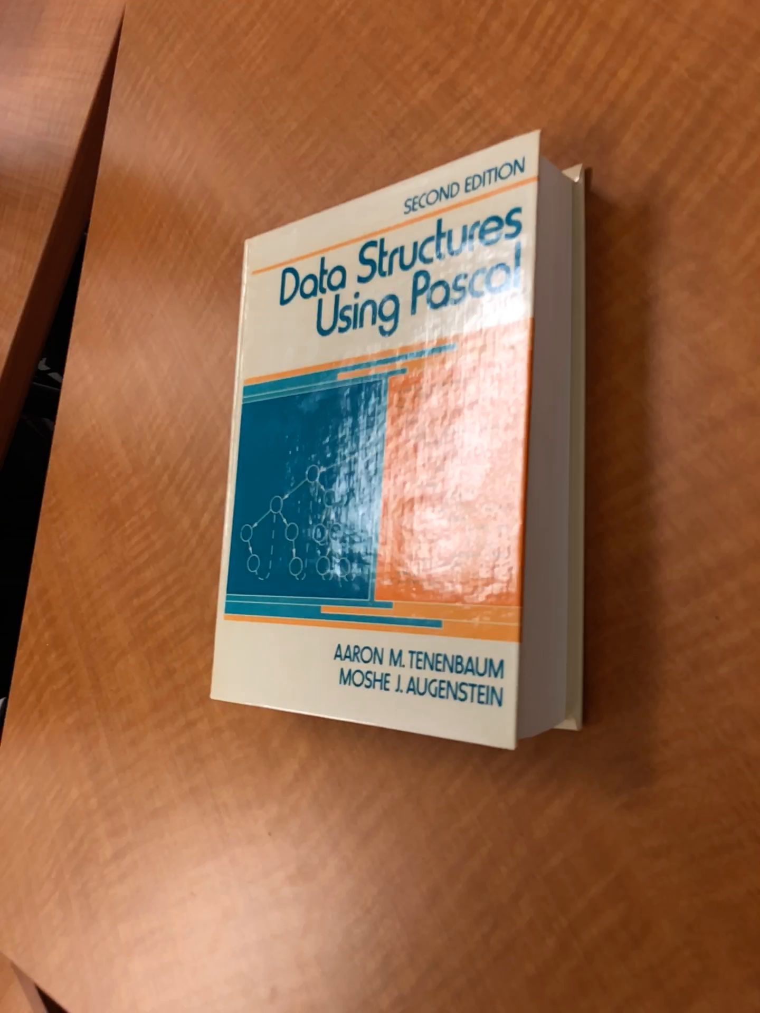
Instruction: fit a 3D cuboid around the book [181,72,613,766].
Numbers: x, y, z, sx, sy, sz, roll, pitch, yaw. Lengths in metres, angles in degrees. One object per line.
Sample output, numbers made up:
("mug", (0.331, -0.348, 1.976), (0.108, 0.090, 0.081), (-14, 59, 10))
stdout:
("book", (0.001, -0.031, 0.387), (0.201, 0.050, 0.260), (-4, 79, 40))
